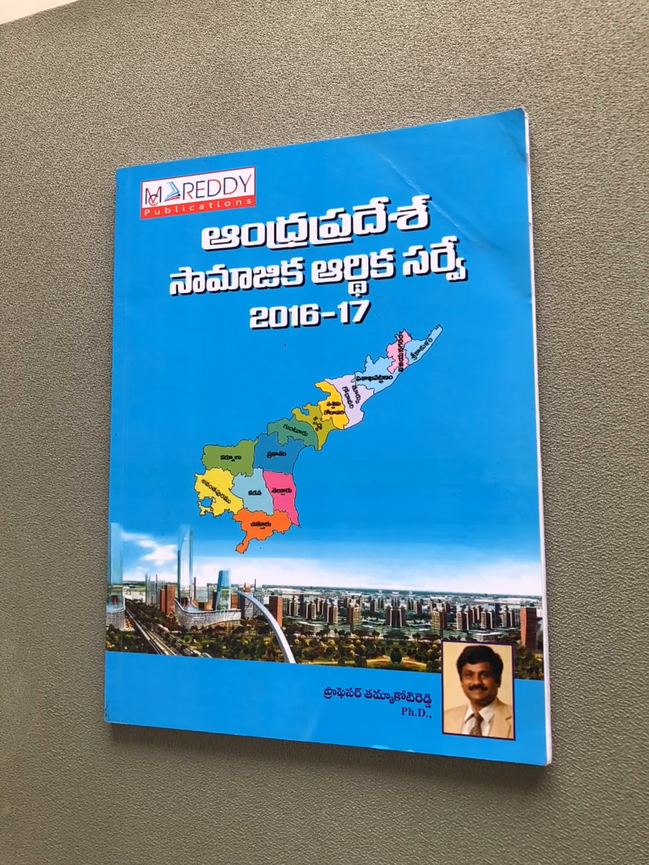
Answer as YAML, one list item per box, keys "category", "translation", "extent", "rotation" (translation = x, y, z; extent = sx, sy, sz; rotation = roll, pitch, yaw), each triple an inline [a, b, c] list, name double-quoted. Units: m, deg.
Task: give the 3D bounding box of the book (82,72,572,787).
- category: "book"
  translation: [-0.005, -0.003, 0.275]
  extent: [0.180, 0.020, 0.240]
  rotation: [-2, 85, 16]
